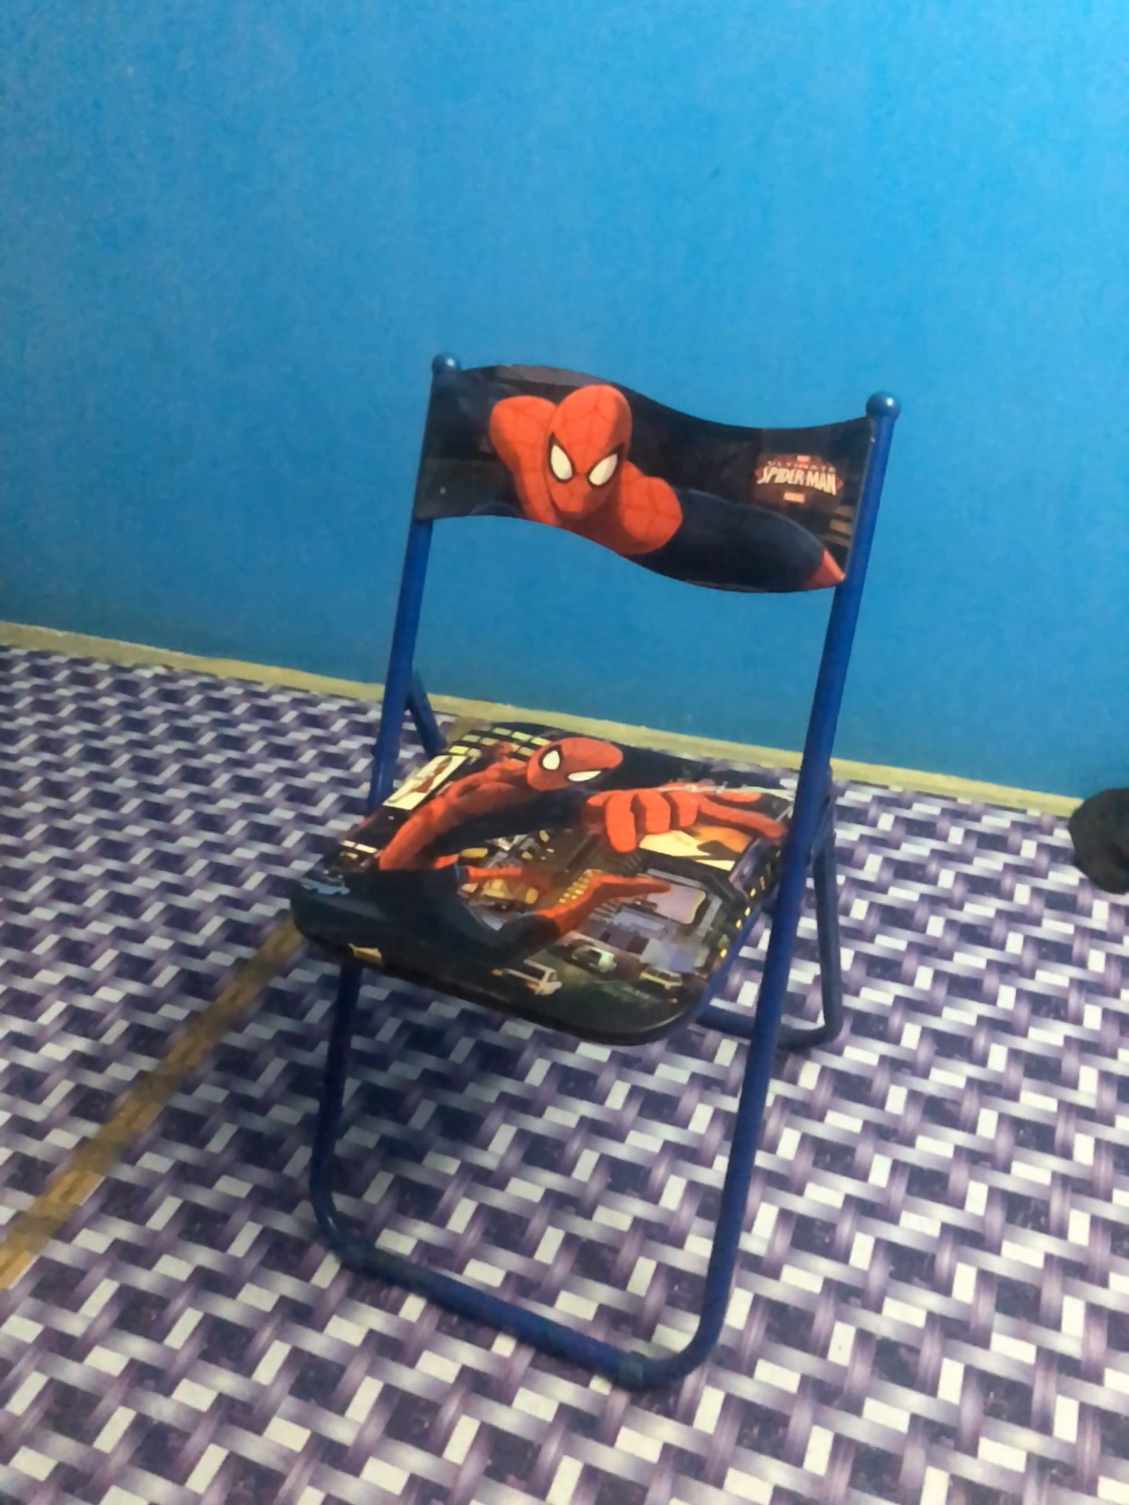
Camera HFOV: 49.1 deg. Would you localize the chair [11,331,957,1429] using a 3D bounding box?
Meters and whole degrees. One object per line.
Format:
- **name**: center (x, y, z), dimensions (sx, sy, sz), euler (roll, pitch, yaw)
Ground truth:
- **chair**: center (-0.004, 0.061, 1.116), dimensions (0.510, 0.686, 0.563), euler (13, 36, 22)
